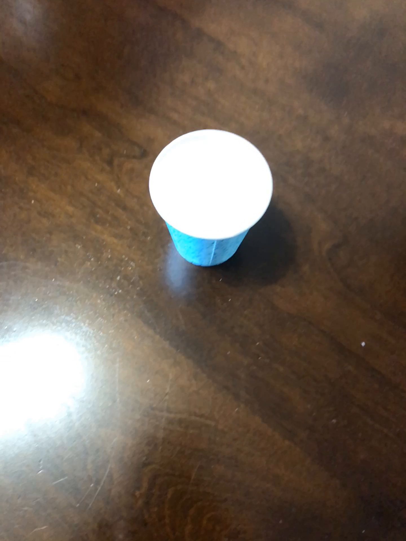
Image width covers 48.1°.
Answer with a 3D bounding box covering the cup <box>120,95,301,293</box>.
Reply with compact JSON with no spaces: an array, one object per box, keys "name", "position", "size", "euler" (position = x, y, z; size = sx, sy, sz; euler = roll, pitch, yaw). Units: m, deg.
[{"name":"cup","position":[0.003,-0.037,0.240],"size":[0.060,0.060,0.060],"euler":[0,69,-1]}]
